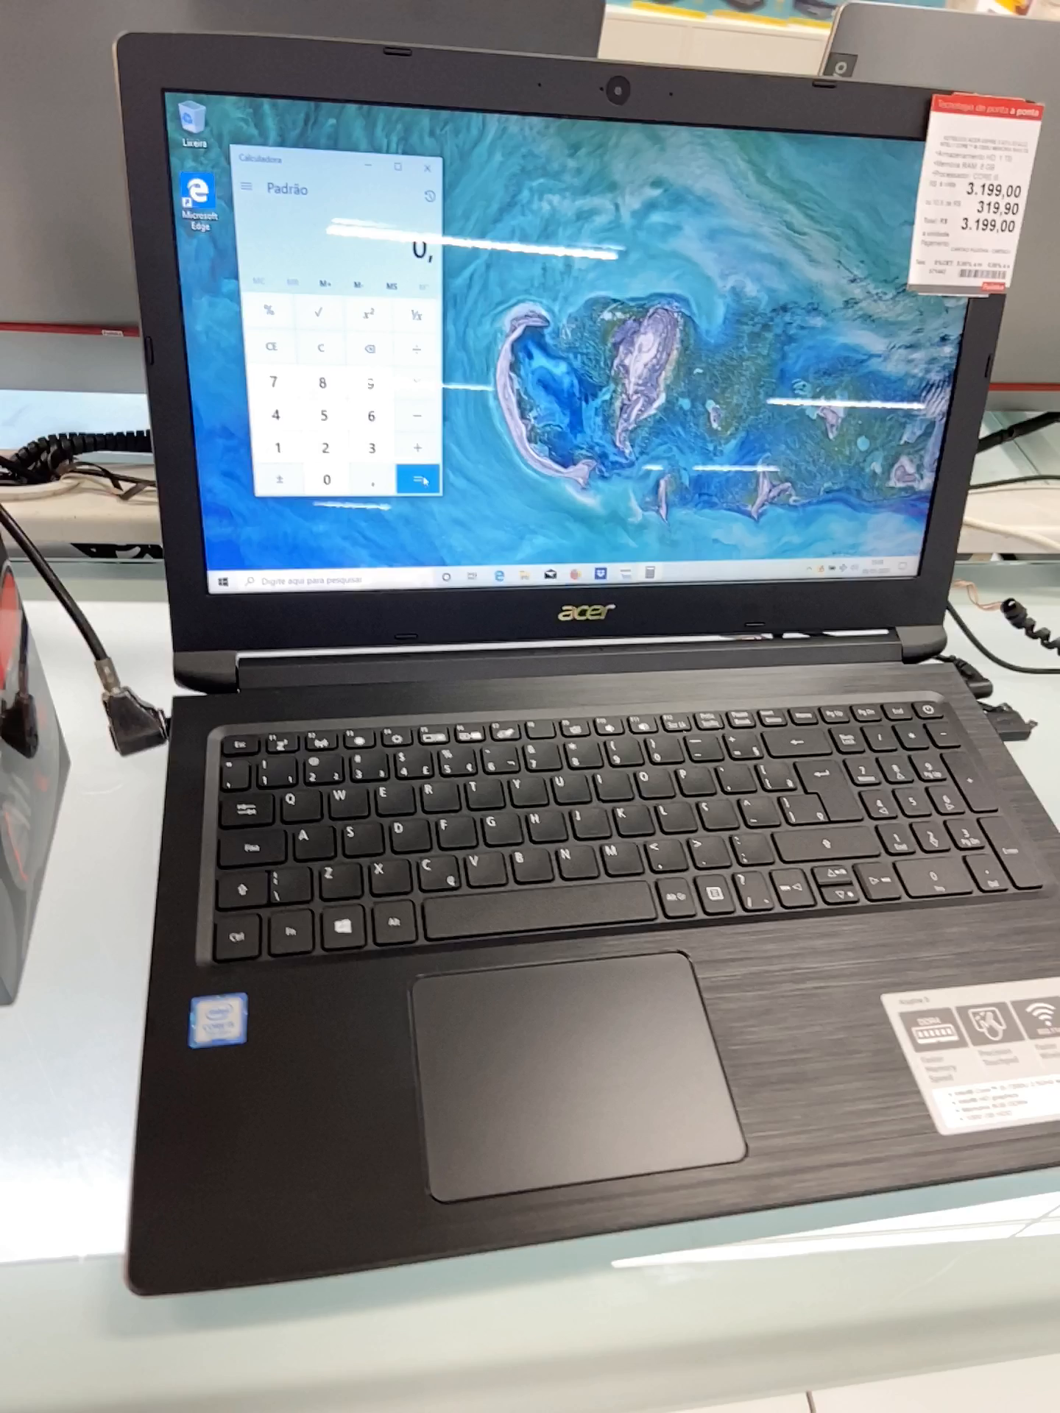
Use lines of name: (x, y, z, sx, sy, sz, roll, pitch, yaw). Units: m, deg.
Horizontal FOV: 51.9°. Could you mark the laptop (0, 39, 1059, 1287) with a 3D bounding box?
laptop: (0.052, -0.047, 0.391, 0.375, 0.227, 0.354, -3, 47, -10)
